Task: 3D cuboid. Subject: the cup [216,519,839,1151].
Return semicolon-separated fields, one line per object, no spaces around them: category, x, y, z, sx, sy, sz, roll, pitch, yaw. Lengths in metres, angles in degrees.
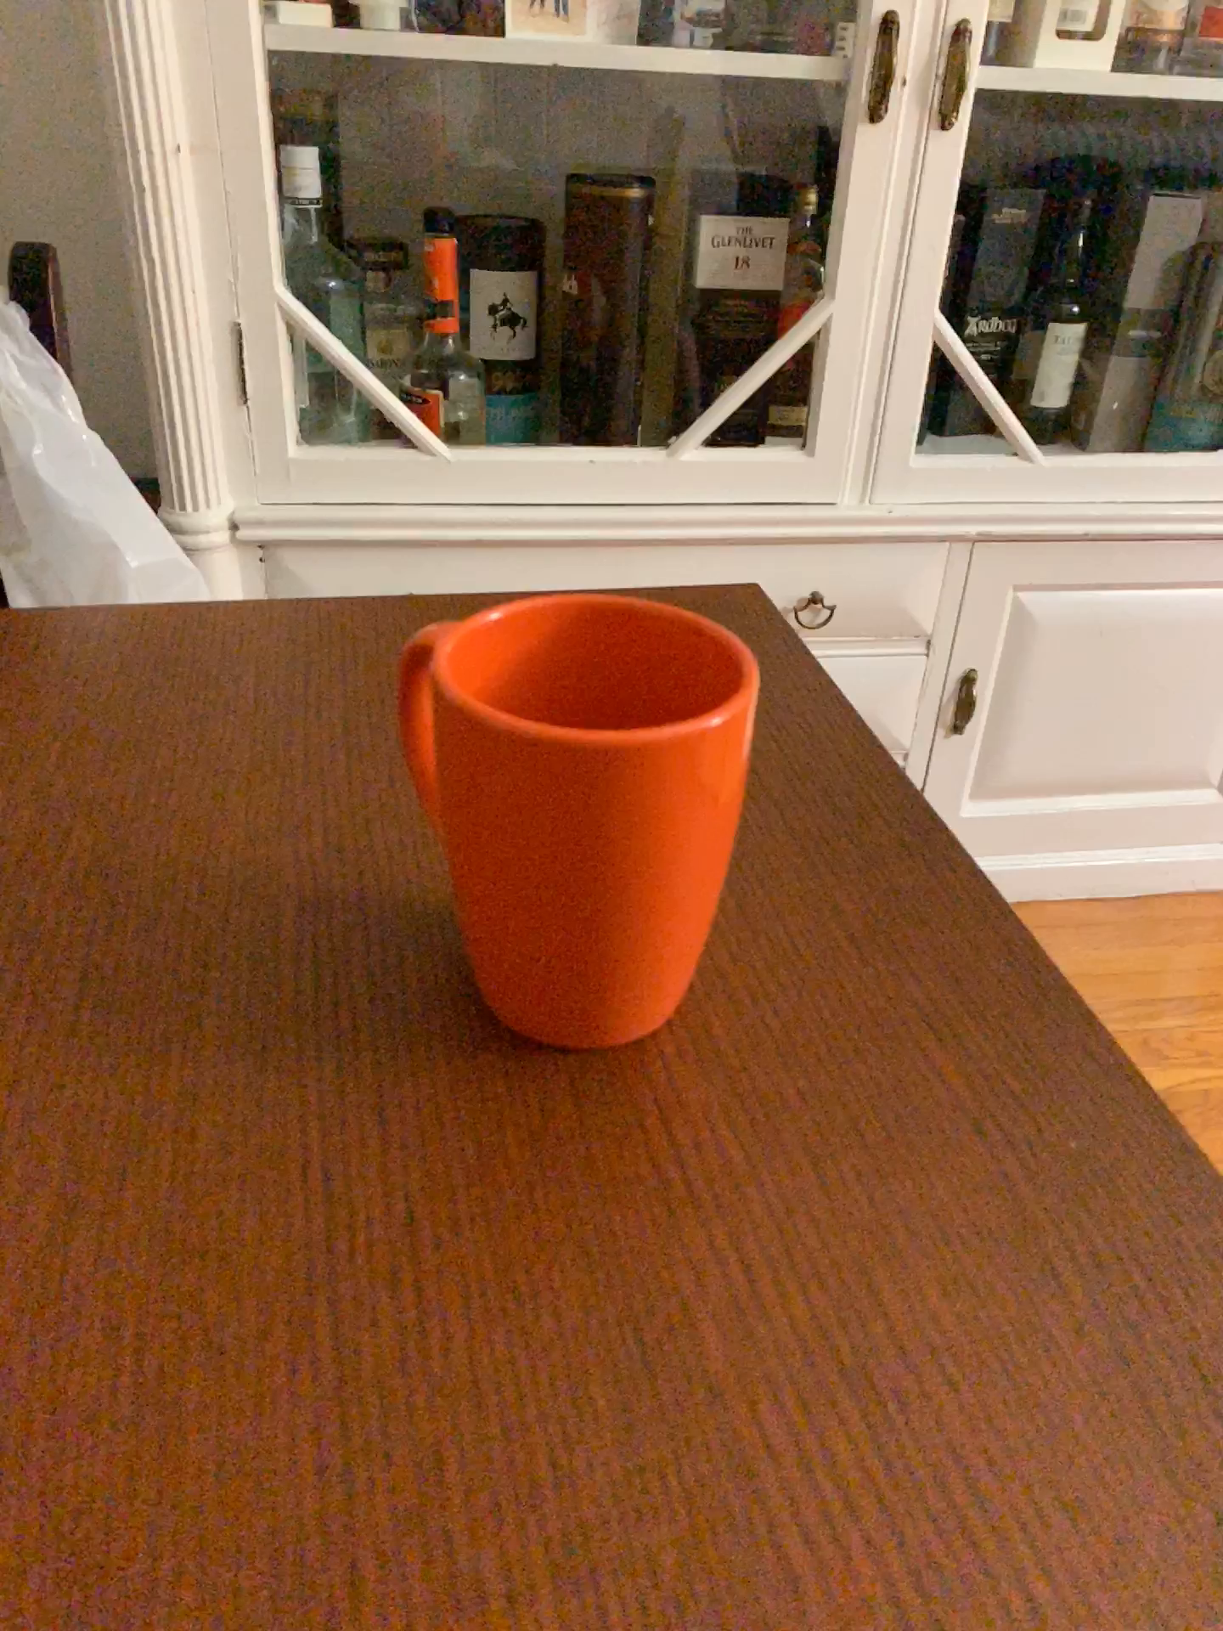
cup;-0.024;-0.004;0.358;0.130;0.109;0.100;25;38;31
